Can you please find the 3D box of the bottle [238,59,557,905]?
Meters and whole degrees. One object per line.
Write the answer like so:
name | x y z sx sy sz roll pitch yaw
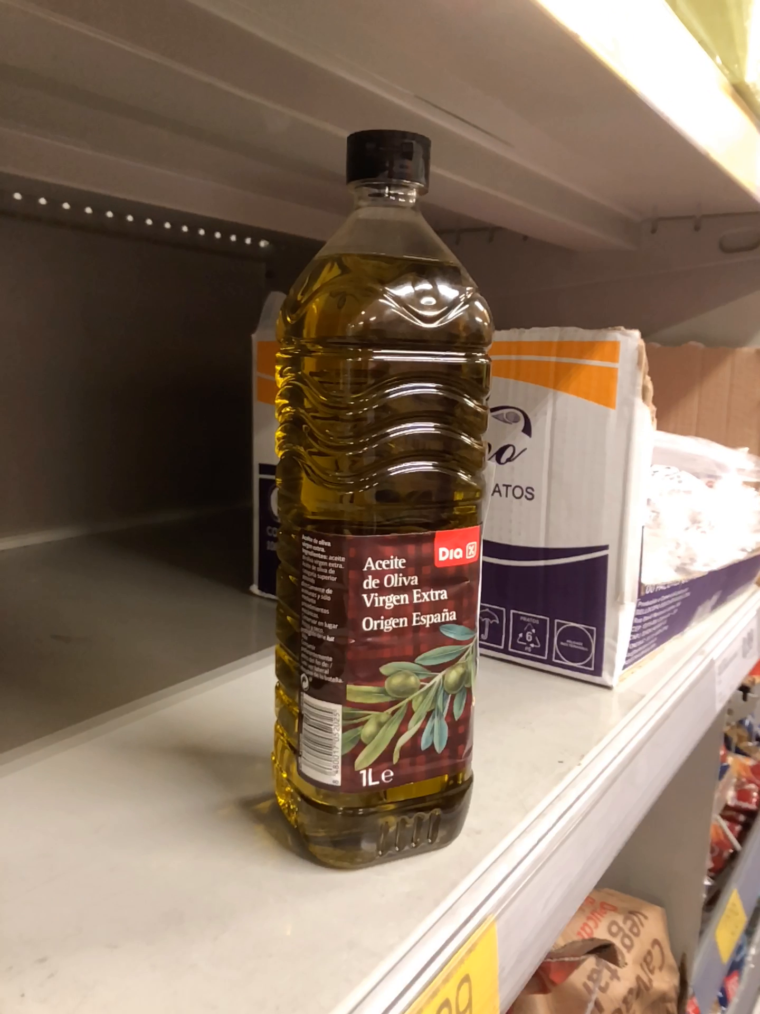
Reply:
bottle | 0.001 -0.005 0.325 0.080 0.279 0.070 -1 10 -29
